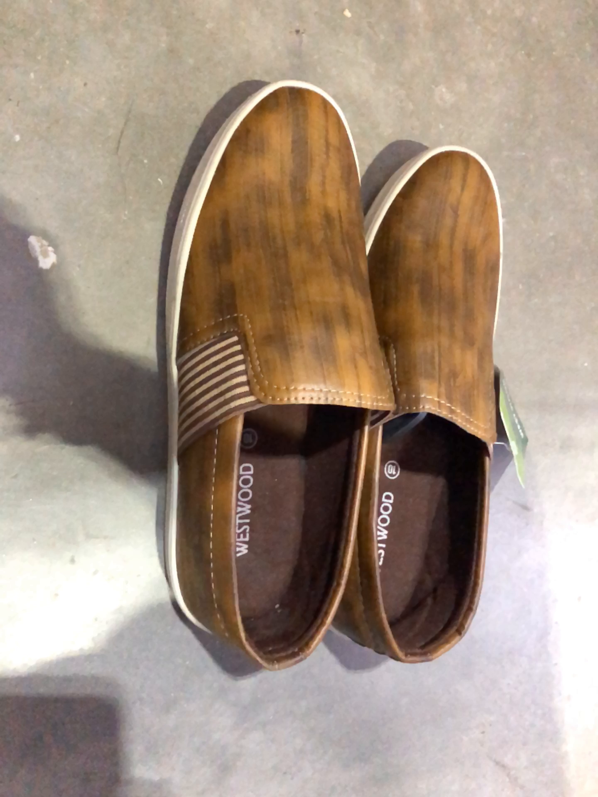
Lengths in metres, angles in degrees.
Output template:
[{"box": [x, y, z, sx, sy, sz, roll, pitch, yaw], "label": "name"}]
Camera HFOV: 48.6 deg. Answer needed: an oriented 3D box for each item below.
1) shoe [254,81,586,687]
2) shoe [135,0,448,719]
[{"box": [0.067, -0.003, 0.380, 0.110, 0.100, 0.290, 12, 84, -23], "label": "shoe"}, {"box": [-0.008, -0.016, 0.327, 0.100, 0.100, 0.290, 6, 86, -23], "label": "shoe"}]
